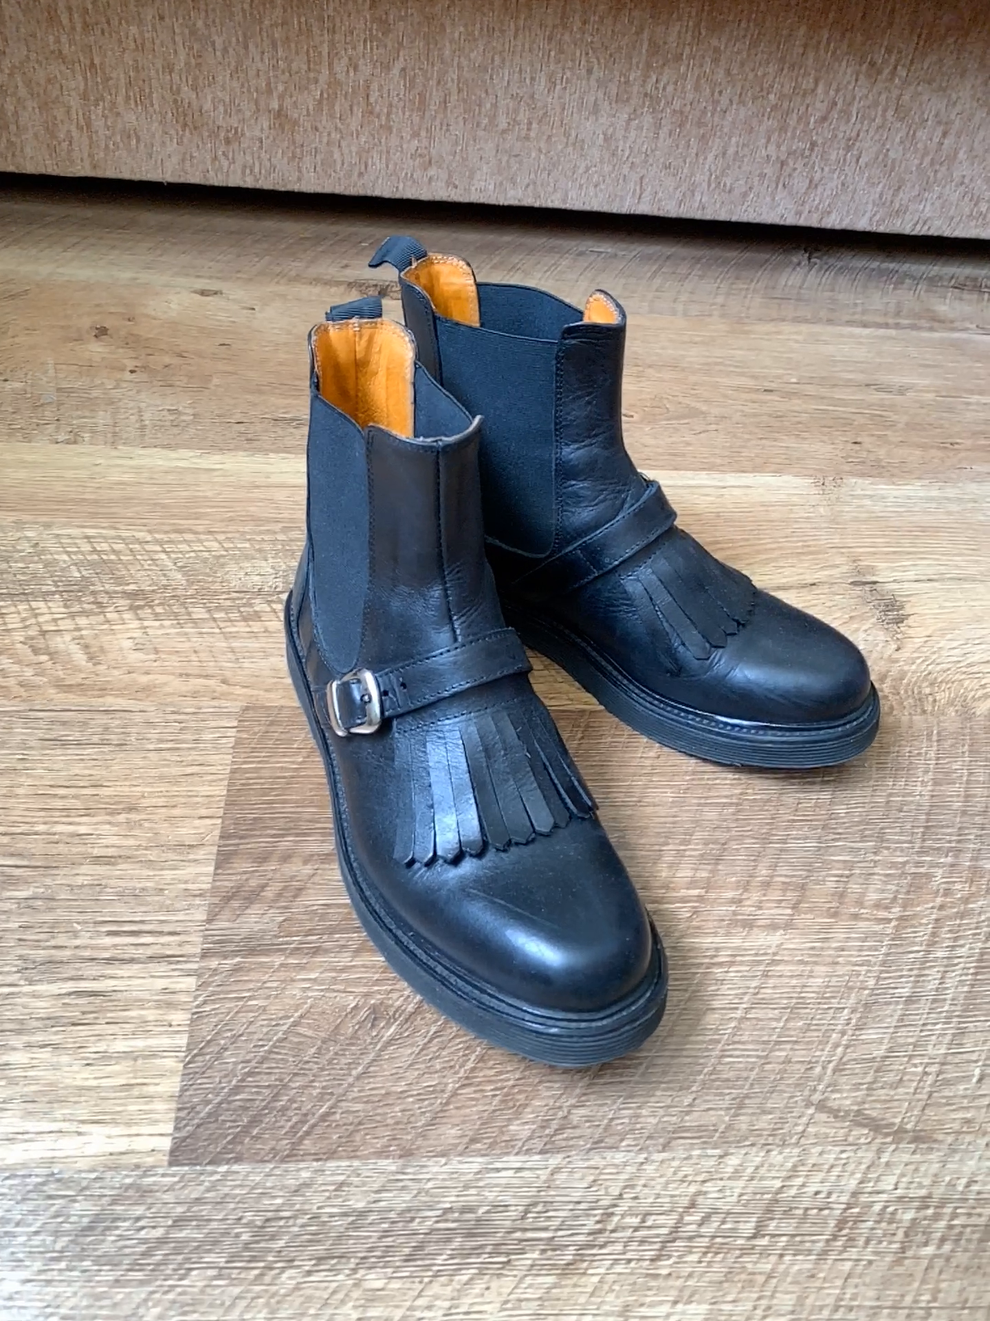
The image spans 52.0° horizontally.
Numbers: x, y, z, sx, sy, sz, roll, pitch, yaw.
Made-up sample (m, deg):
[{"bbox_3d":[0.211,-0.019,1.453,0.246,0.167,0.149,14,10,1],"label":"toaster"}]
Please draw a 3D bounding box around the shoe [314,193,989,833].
[{"bbox_3d":[0.061,-0.068,0.428,0.260,0.149,0.100,27,49,19],"label":"shoe"}]

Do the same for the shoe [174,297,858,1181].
[{"bbox_3d":[-0.020,0.010,0.355,0.089,0.151,0.261,-18,51,-23],"label":"shoe"}]
